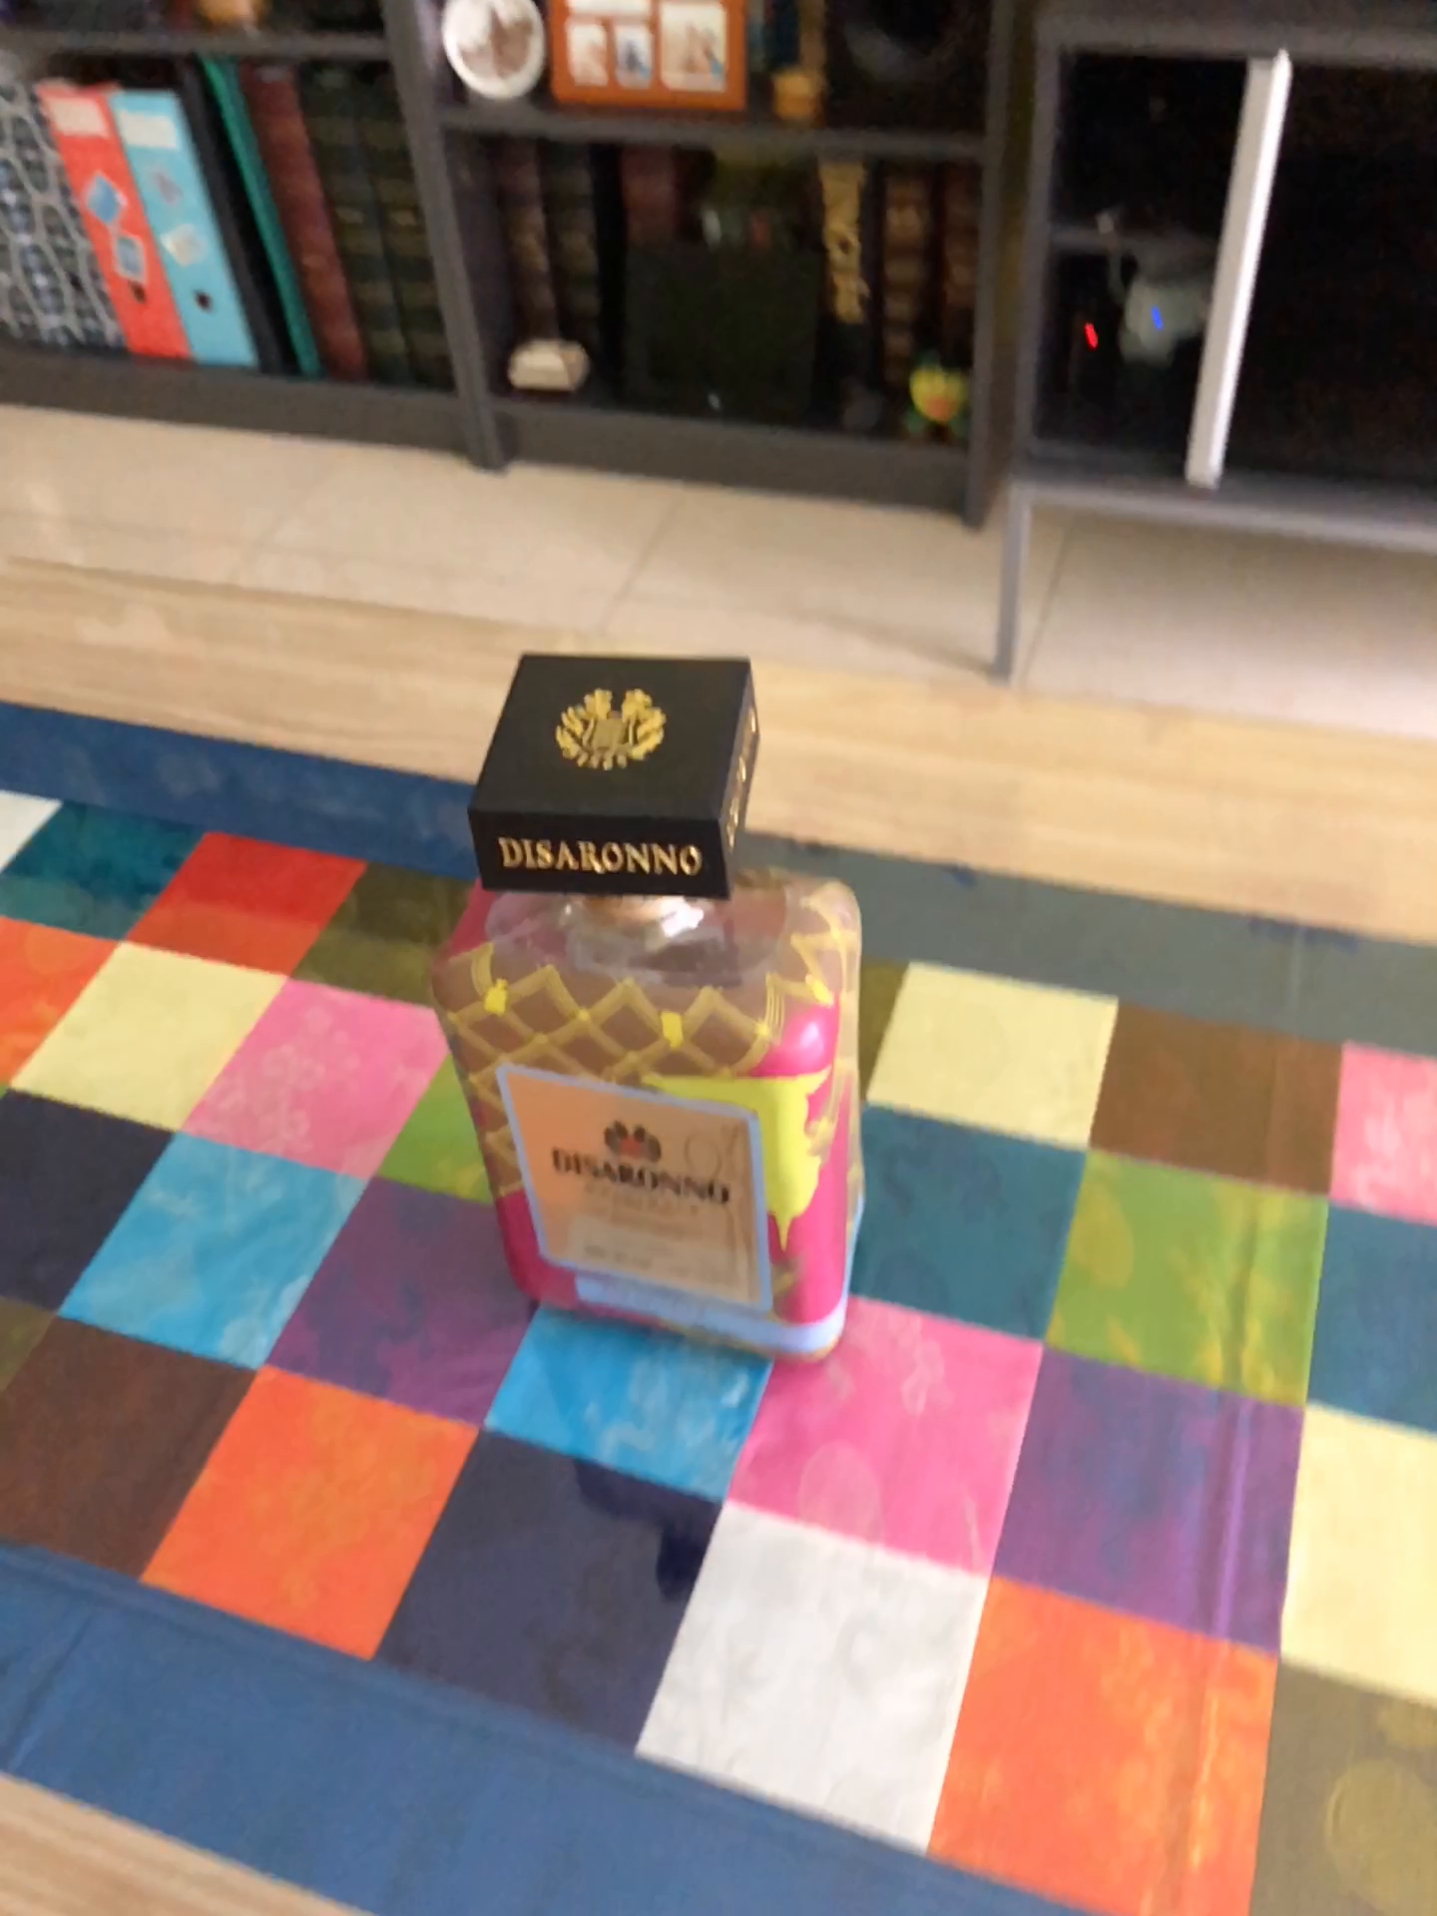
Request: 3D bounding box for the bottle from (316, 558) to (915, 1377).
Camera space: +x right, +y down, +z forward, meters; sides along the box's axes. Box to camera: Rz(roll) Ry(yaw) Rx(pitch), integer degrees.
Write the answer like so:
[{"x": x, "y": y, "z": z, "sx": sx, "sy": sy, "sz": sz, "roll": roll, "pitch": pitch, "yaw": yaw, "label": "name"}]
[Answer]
[{"x": -0.013, "y": 0.014, "z": 0.455, "sx": 0.120, "sy": 0.229, "sz": 0.080, "roll": 9, "pitch": 49, "yaw": 14, "label": "bottle"}]
